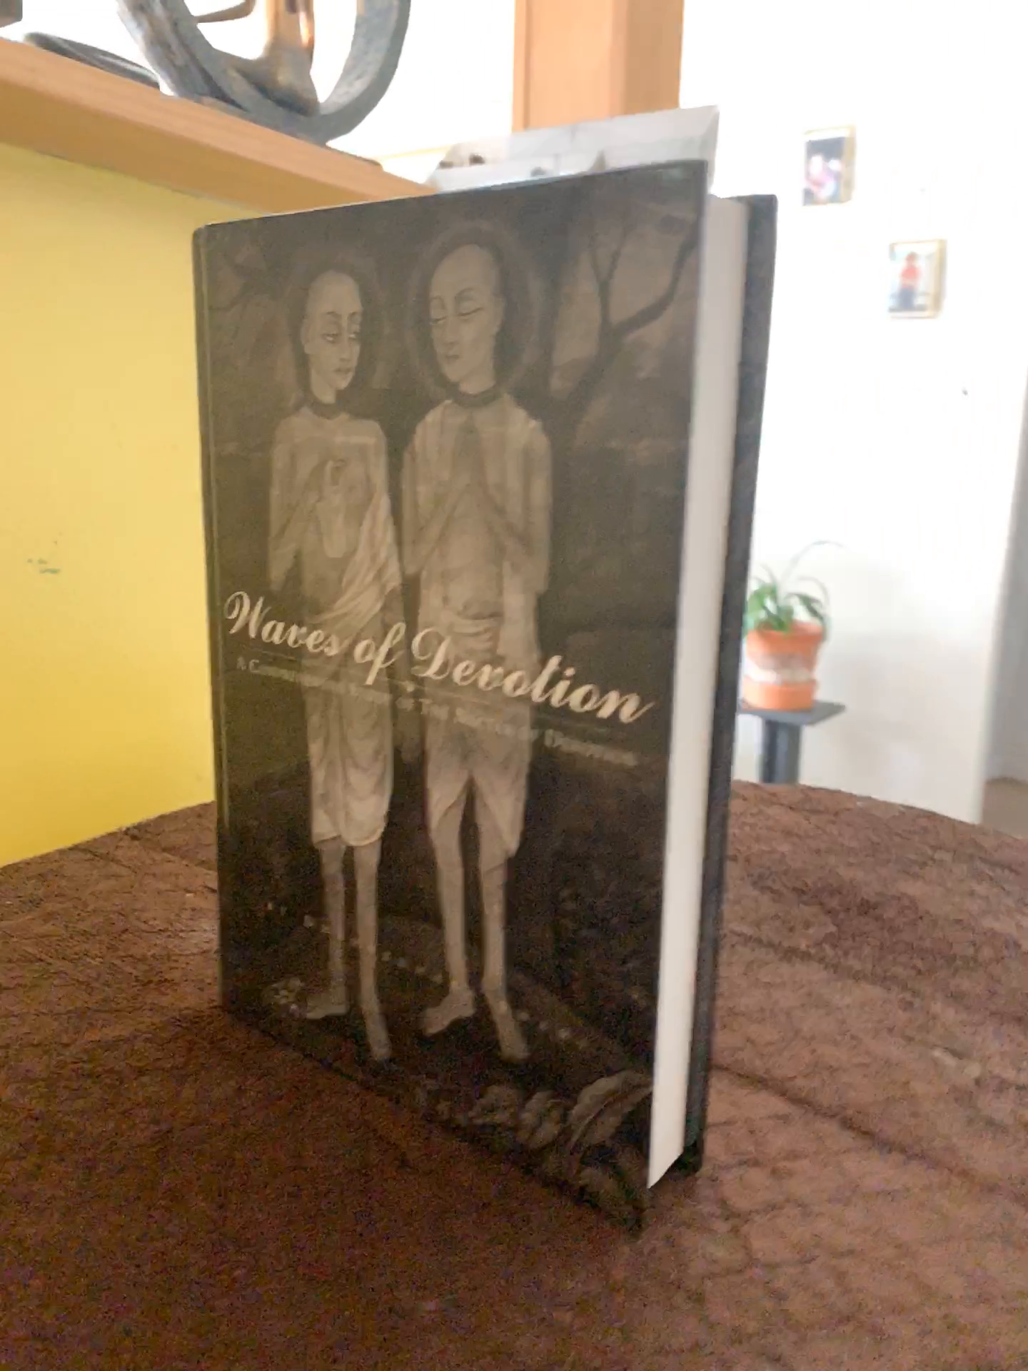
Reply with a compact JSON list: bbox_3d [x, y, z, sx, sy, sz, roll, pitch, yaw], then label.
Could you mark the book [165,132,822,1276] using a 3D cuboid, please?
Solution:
[{"bbox_3d":[-0.015,0.001,0.269,0.160,0.229,0.040,12,18,37],"label":"book"}]
